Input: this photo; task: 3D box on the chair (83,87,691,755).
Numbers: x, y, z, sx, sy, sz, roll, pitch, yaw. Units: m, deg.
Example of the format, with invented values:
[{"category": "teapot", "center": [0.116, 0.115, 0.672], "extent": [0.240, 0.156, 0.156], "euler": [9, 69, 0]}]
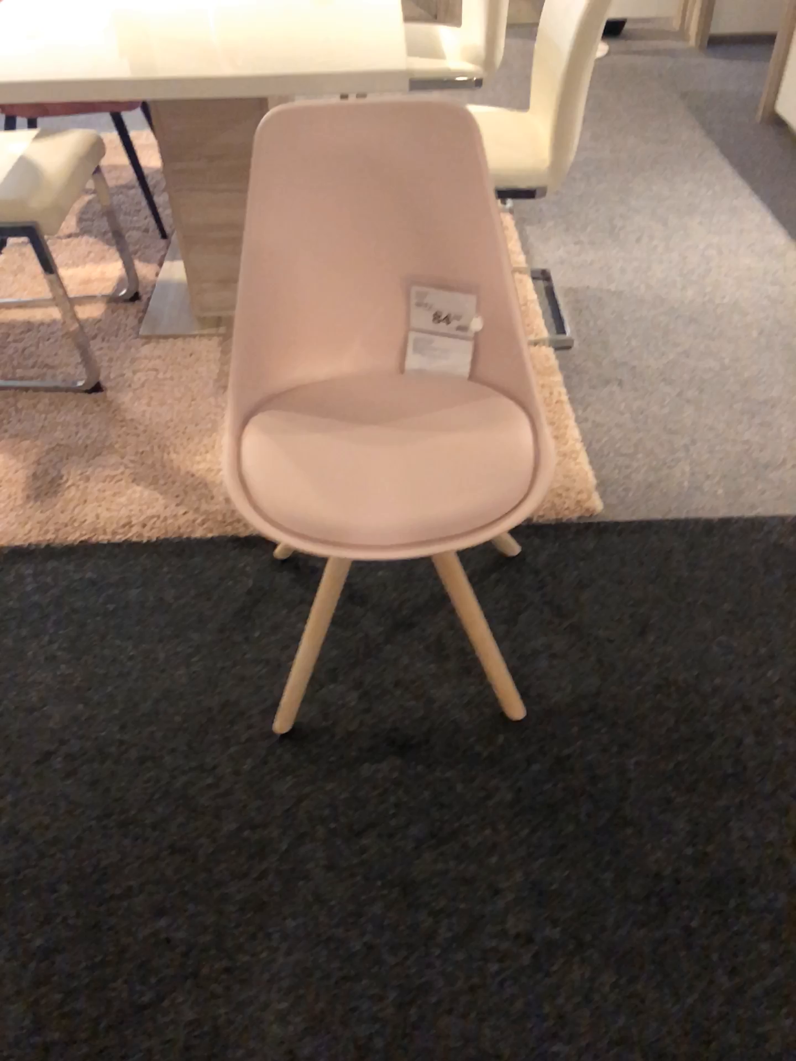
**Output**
[{"category": "chair", "center": [-0.014, -0.143, 1.281], "extent": [0.570, 0.766, 0.563], "euler": [-3, 43, -1]}]
